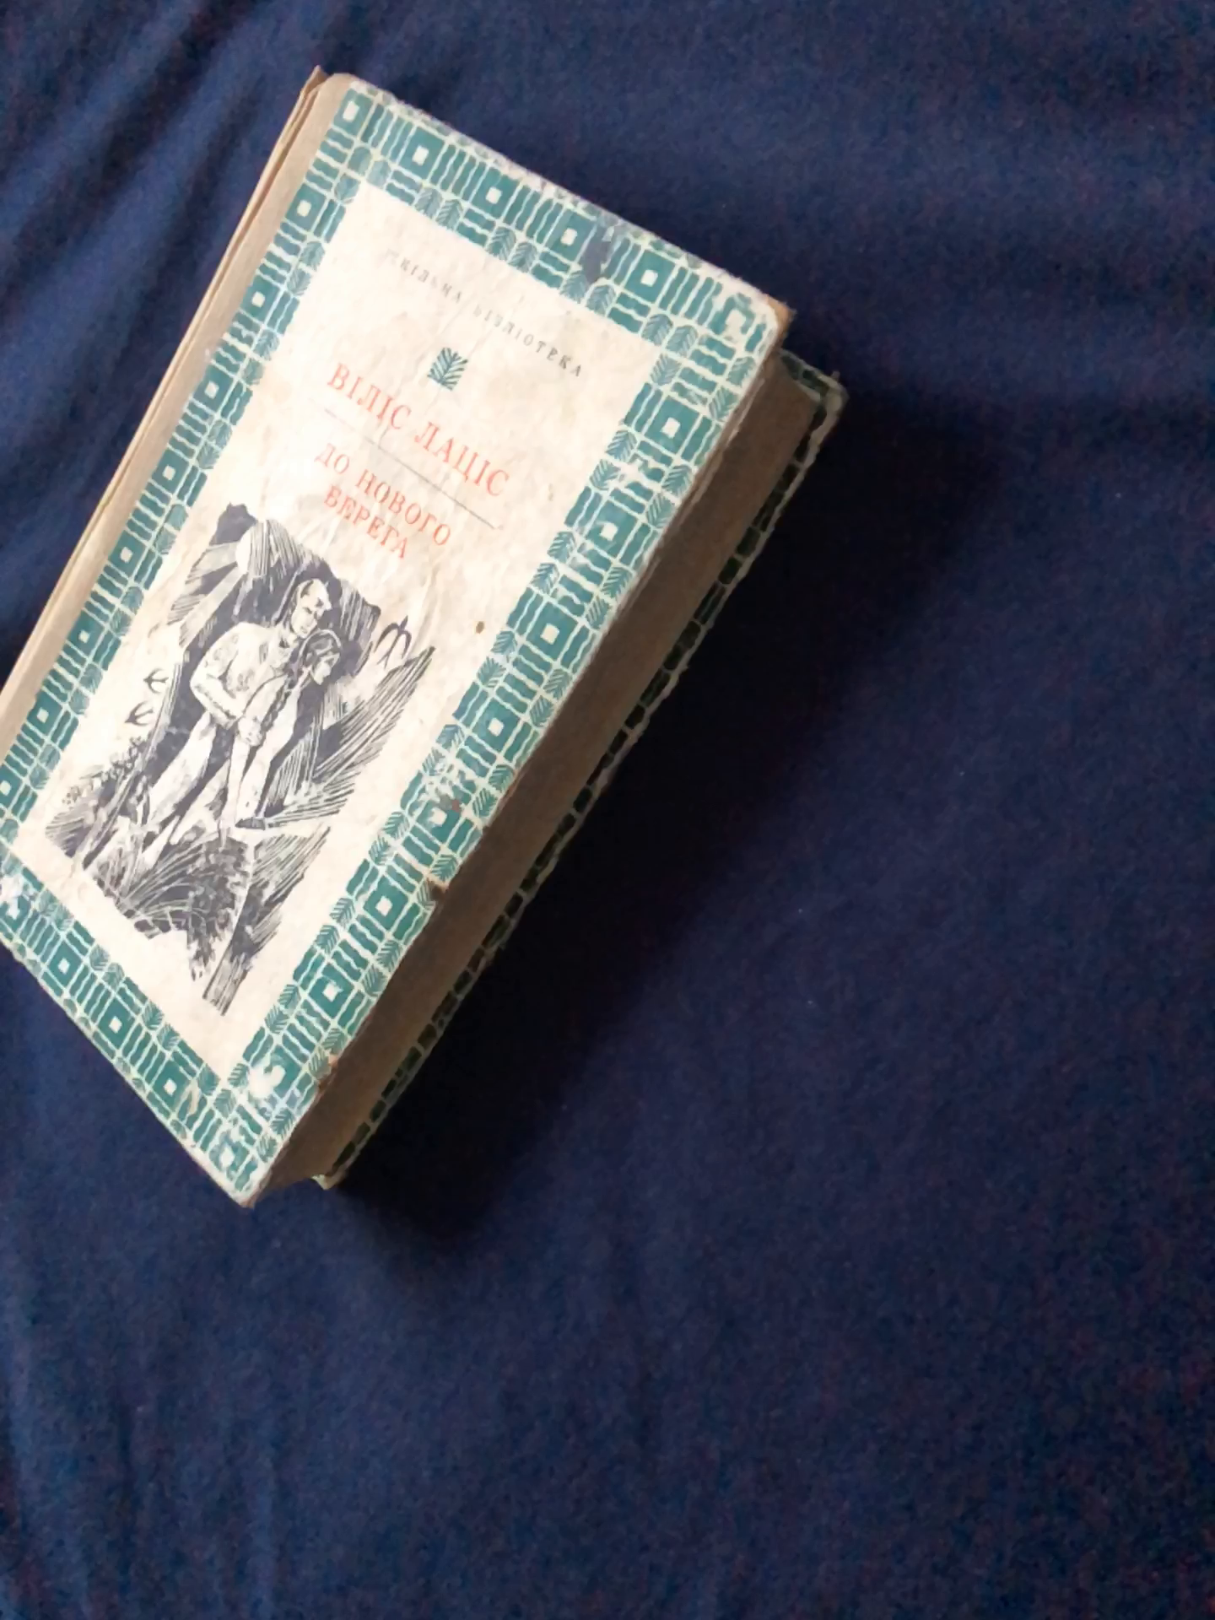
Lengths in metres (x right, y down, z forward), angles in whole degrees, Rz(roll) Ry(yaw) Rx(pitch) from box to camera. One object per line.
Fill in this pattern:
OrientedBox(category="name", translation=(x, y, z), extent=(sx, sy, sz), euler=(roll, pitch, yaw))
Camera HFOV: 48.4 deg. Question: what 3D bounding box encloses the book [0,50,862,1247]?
OrientedBox(category="book", translation=(-0.063, -0.035, 0.285), extent=(0.135, 0.040, 0.201), euler=(38, 101, 26))
